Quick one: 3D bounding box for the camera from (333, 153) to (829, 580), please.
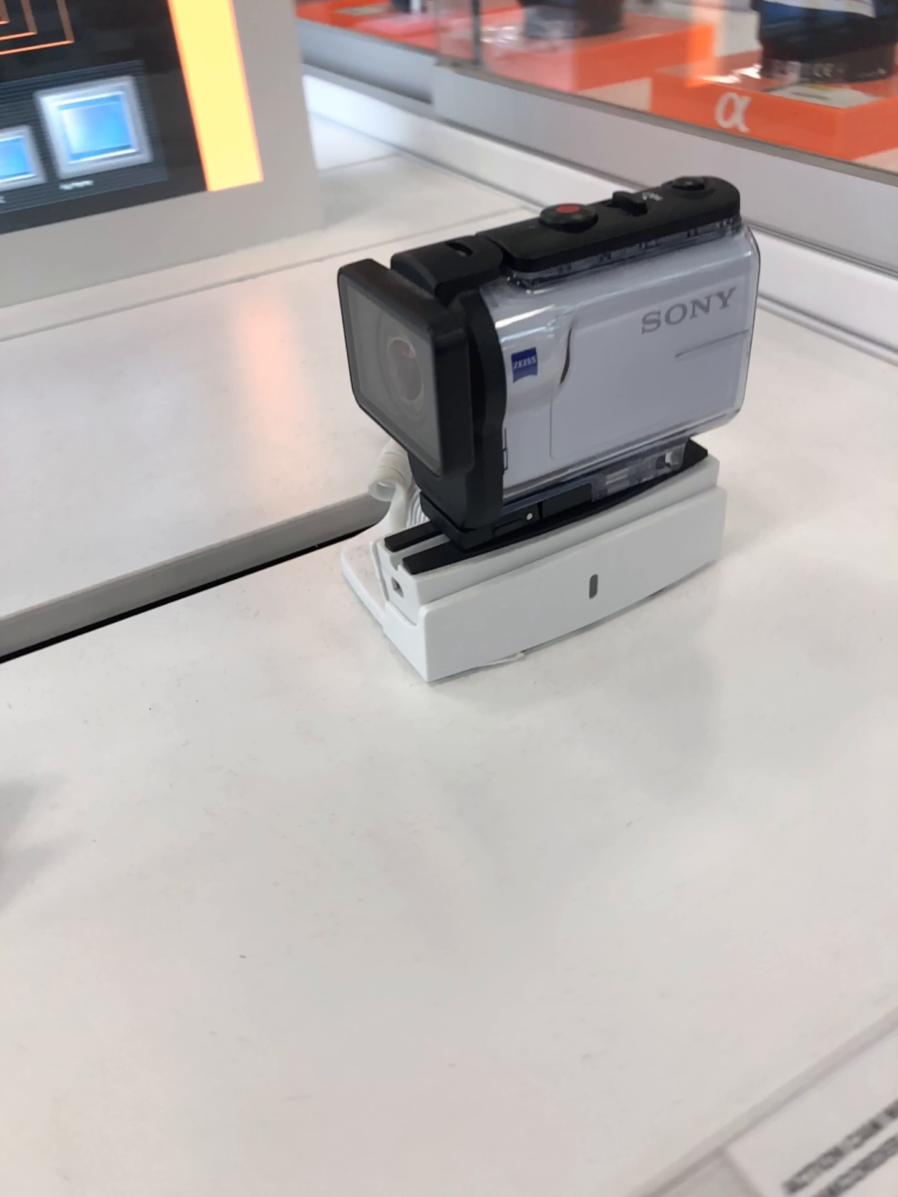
[{"bbox_3d":[0.029,-0.056,0.227,0.090,0.060,0.050,-22,40,-21],"label":"camera"}]
